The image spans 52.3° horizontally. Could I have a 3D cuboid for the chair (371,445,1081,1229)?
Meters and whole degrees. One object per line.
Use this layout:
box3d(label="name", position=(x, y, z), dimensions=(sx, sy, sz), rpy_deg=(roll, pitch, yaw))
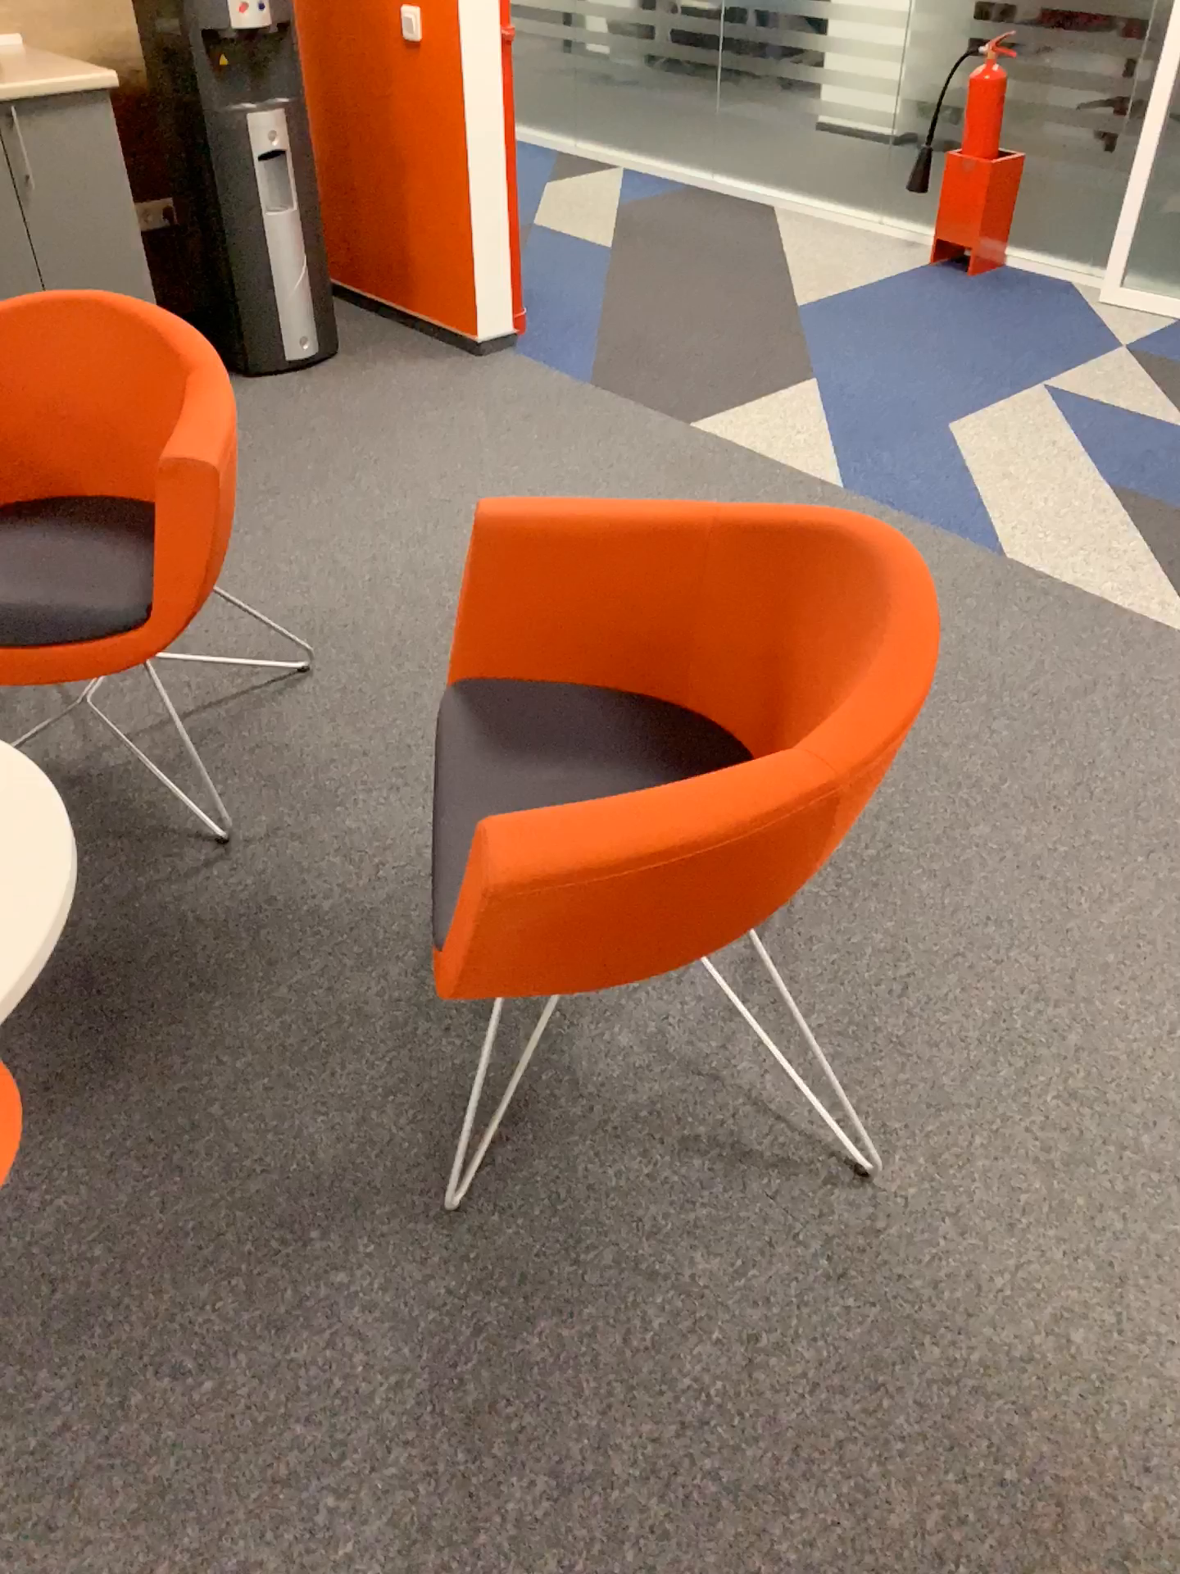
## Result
box3d(label="chair", position=(0.101, 0.048, 1.512), dimensions=(0.620, 0.706, 0.644), rpy_deg=(-3, 39, -3))
